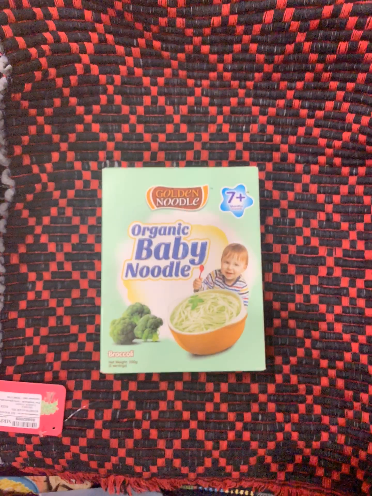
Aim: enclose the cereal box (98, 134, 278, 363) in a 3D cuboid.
[{"bbox_3d":[0.000,0.000,0.318,0.130,0.060,0.170,-1,84,-1],"label":"cereal box"}]
